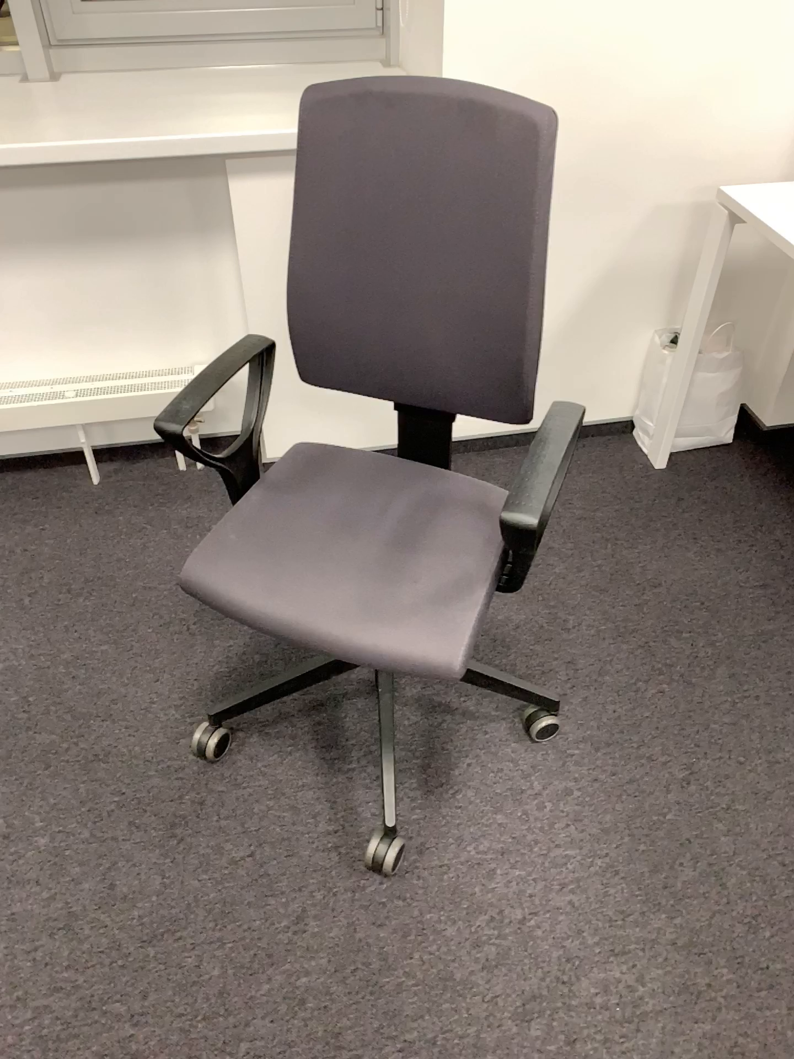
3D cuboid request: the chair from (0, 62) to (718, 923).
[{"bbox_3d":[-0.010,-0.072,1.337,0.700,1.044,0.754,15,43,17],"label":"chair"}]
